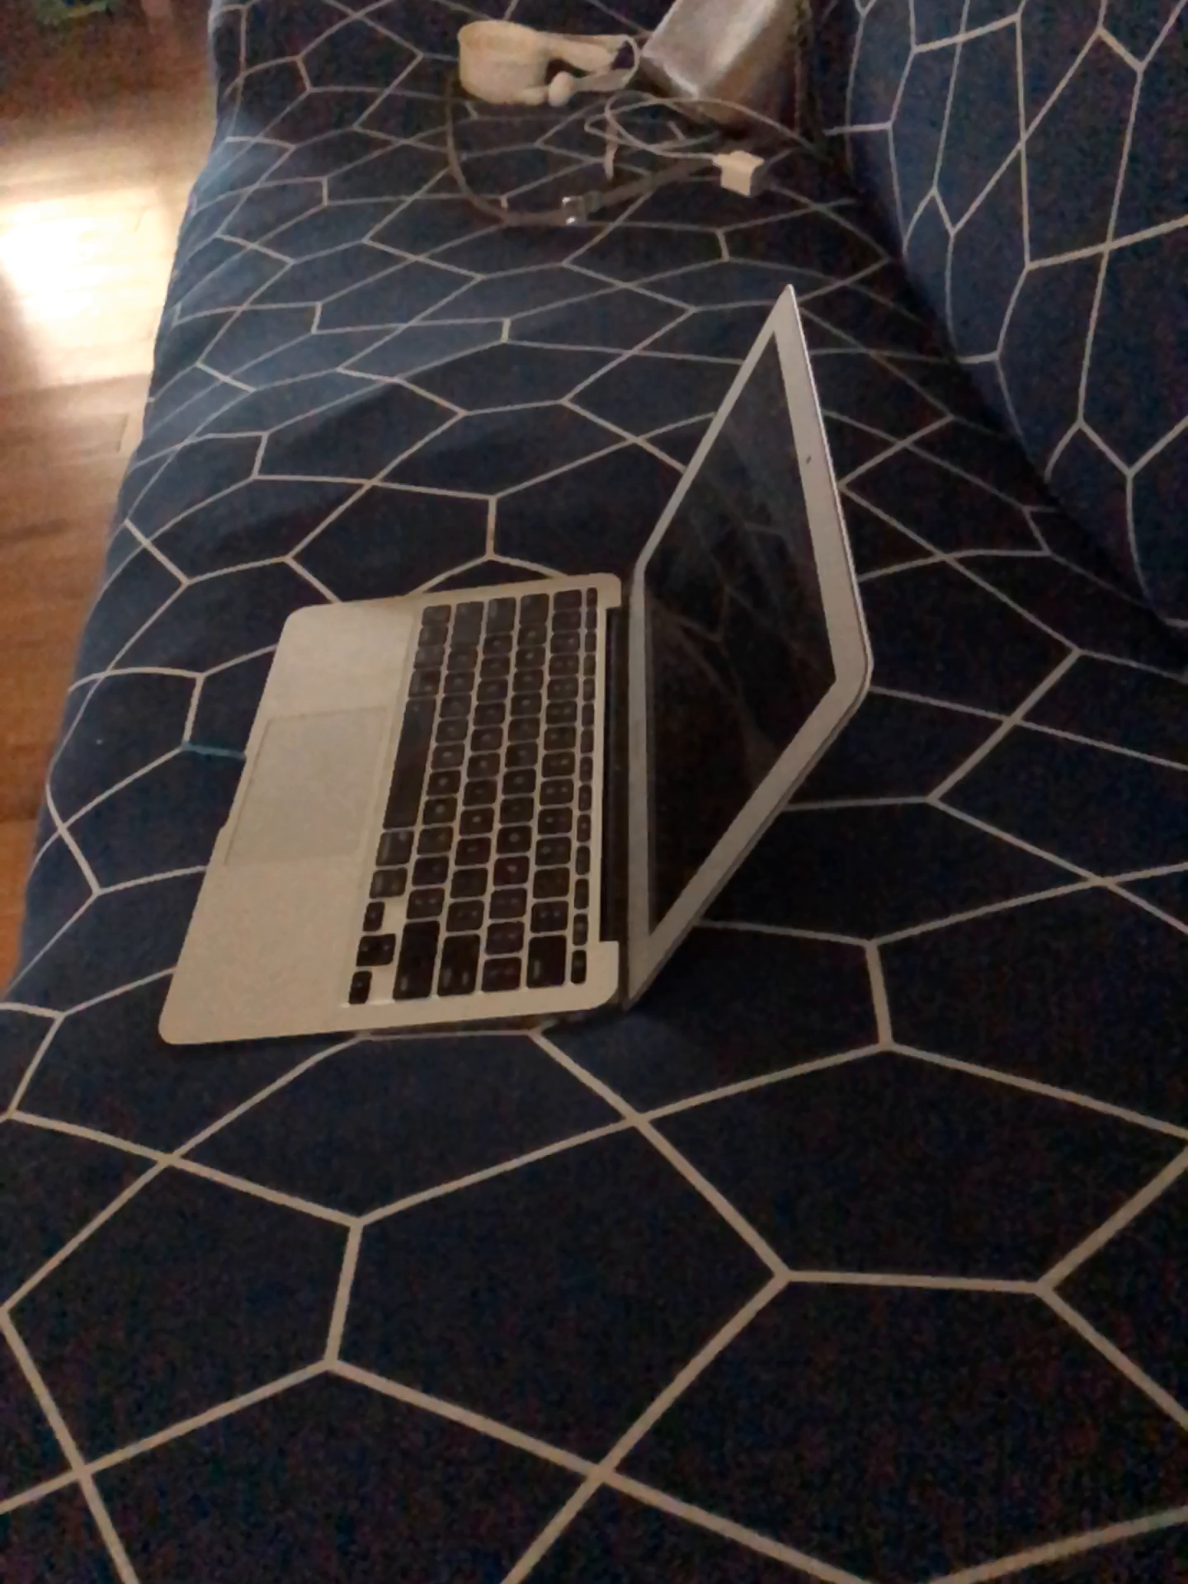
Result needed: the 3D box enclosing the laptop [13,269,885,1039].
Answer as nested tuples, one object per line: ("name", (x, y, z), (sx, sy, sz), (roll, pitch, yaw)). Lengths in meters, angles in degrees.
("laptop", (-0.039, -0.068, 0.561), (0.279, 0.156, 0.283), (-5, 45, 6))
